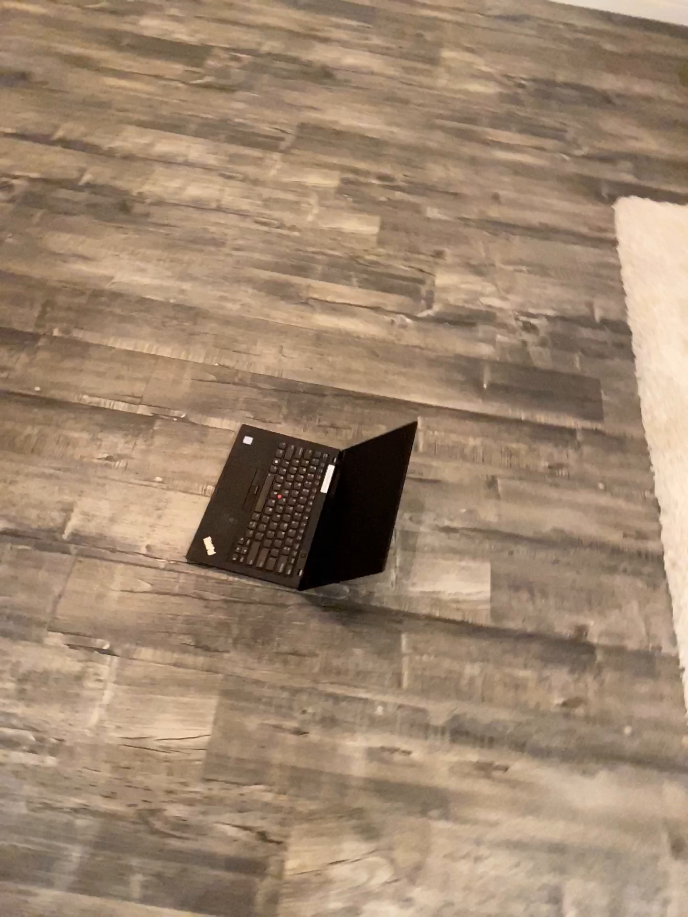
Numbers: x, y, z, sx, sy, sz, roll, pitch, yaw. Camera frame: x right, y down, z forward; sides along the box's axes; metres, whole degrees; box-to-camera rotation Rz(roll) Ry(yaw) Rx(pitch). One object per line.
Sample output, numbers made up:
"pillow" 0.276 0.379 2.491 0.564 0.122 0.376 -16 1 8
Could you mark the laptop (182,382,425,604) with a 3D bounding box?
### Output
"laptop" -0.067 0.056 1.300 0.355 0.149 0.320 13 55 4
